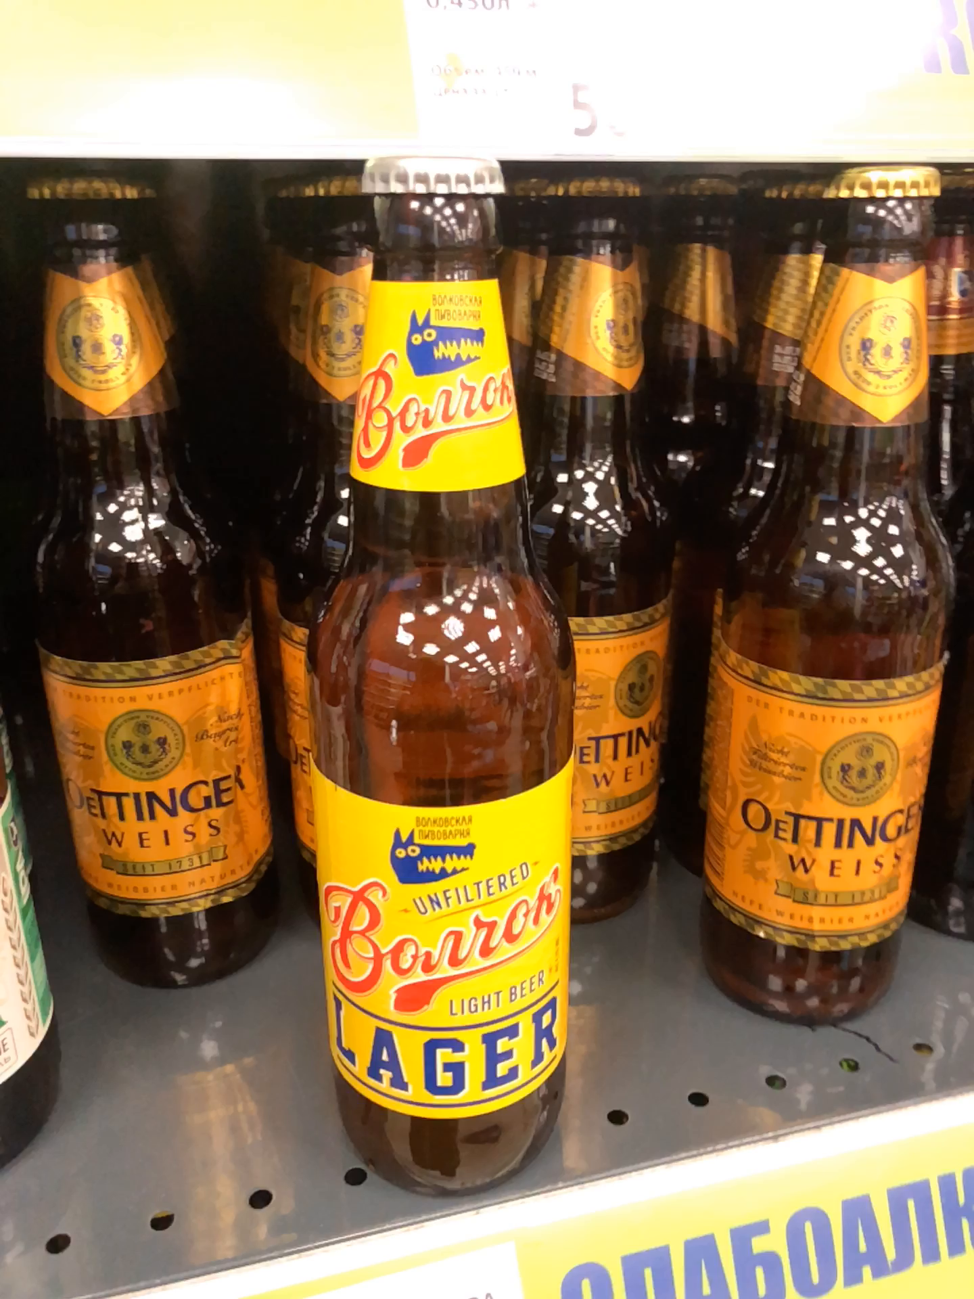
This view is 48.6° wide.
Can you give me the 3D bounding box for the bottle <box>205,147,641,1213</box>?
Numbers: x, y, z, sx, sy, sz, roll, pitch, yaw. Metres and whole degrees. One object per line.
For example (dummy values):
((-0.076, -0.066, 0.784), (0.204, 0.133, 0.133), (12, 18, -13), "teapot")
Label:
((-0.011, 0.015, 0.252), (0.070, 0.239, 0.070), (0, 23, 0), "bottle")
